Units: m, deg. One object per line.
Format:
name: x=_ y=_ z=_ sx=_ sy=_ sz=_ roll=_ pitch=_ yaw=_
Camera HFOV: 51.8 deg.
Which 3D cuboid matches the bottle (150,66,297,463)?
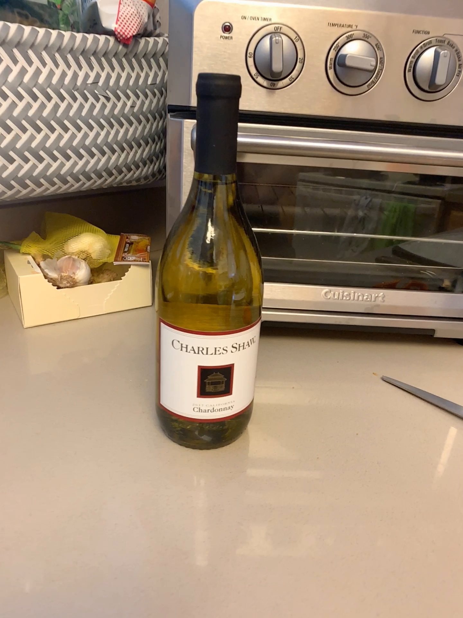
bottle: x=-0.014 y=-0.020 z=0.344 sx=0.080 sy=0.269 sz=0.070 roll=1 pitch=23 yaw=-6
